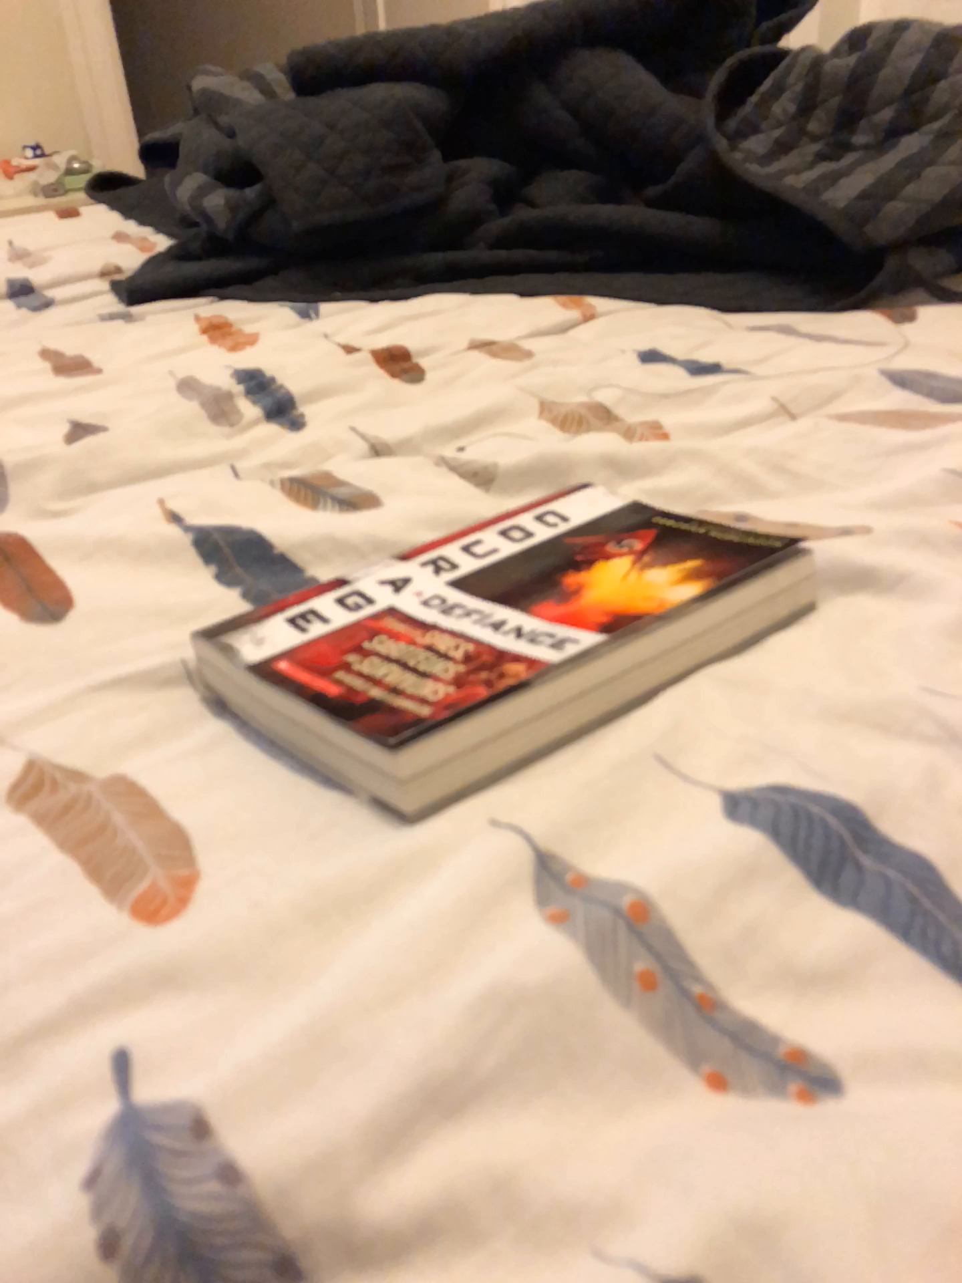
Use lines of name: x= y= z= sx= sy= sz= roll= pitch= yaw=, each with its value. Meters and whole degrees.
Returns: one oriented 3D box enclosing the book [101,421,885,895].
book: x=0.005 y=-0.021 z=0.411 sx=0.231 sy=0.020 sz=0.201 roll=-29 pitch=40 yaw=-34
